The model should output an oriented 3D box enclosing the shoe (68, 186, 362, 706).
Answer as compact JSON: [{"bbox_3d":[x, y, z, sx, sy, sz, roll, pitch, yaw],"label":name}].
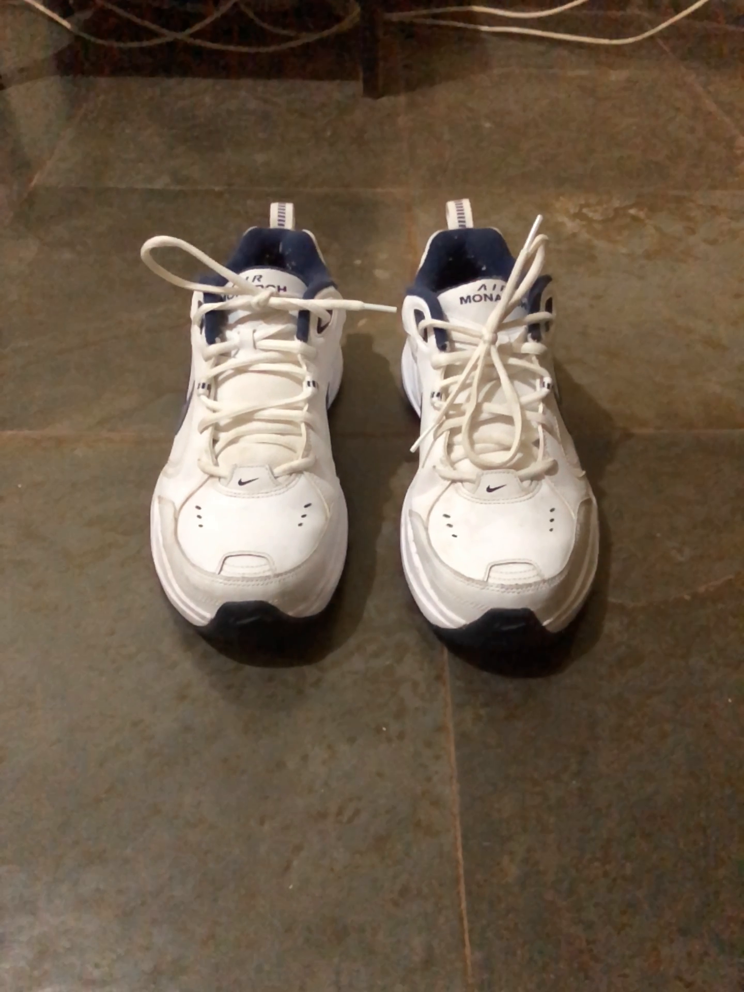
[{"bbox_3d":[-0.070,-0.047,0.496,0.120,0.149,0.302,0,45,-2],"label":"shoe"}]

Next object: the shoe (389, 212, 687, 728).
[{"bbox_3d":[0.074,-0.033,0.506,0.120,0.149,0.302,1,45,0],"label":"shoe"}]
